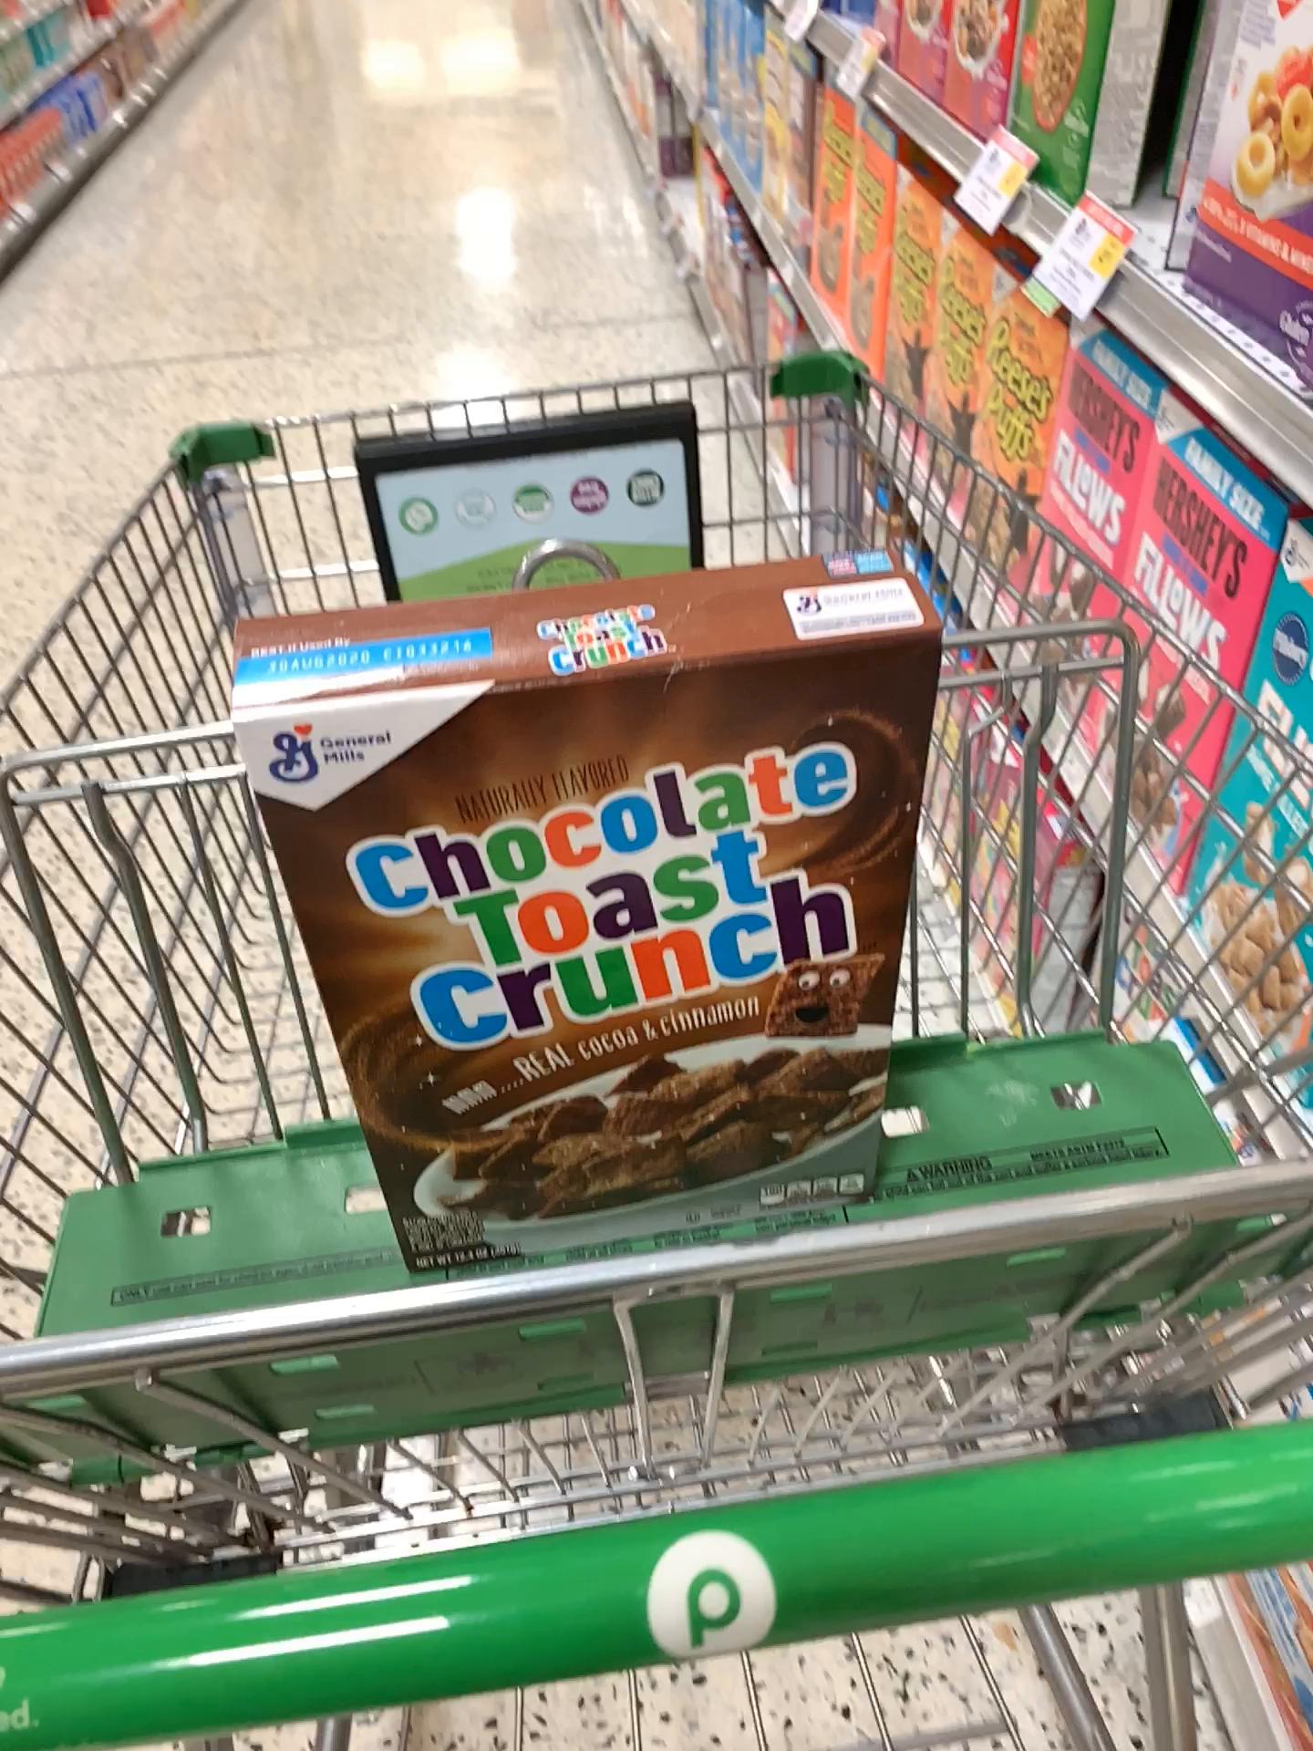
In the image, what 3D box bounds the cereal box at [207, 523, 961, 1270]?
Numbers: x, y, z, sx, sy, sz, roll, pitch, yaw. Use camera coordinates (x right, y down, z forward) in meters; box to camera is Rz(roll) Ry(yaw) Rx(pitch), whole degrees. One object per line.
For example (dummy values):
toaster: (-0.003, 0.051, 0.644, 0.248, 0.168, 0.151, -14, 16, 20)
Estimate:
cereal box: (-0.015, 0.026, 0.470, 0.200, 0.277, 0.051, -8, 44, -5)
